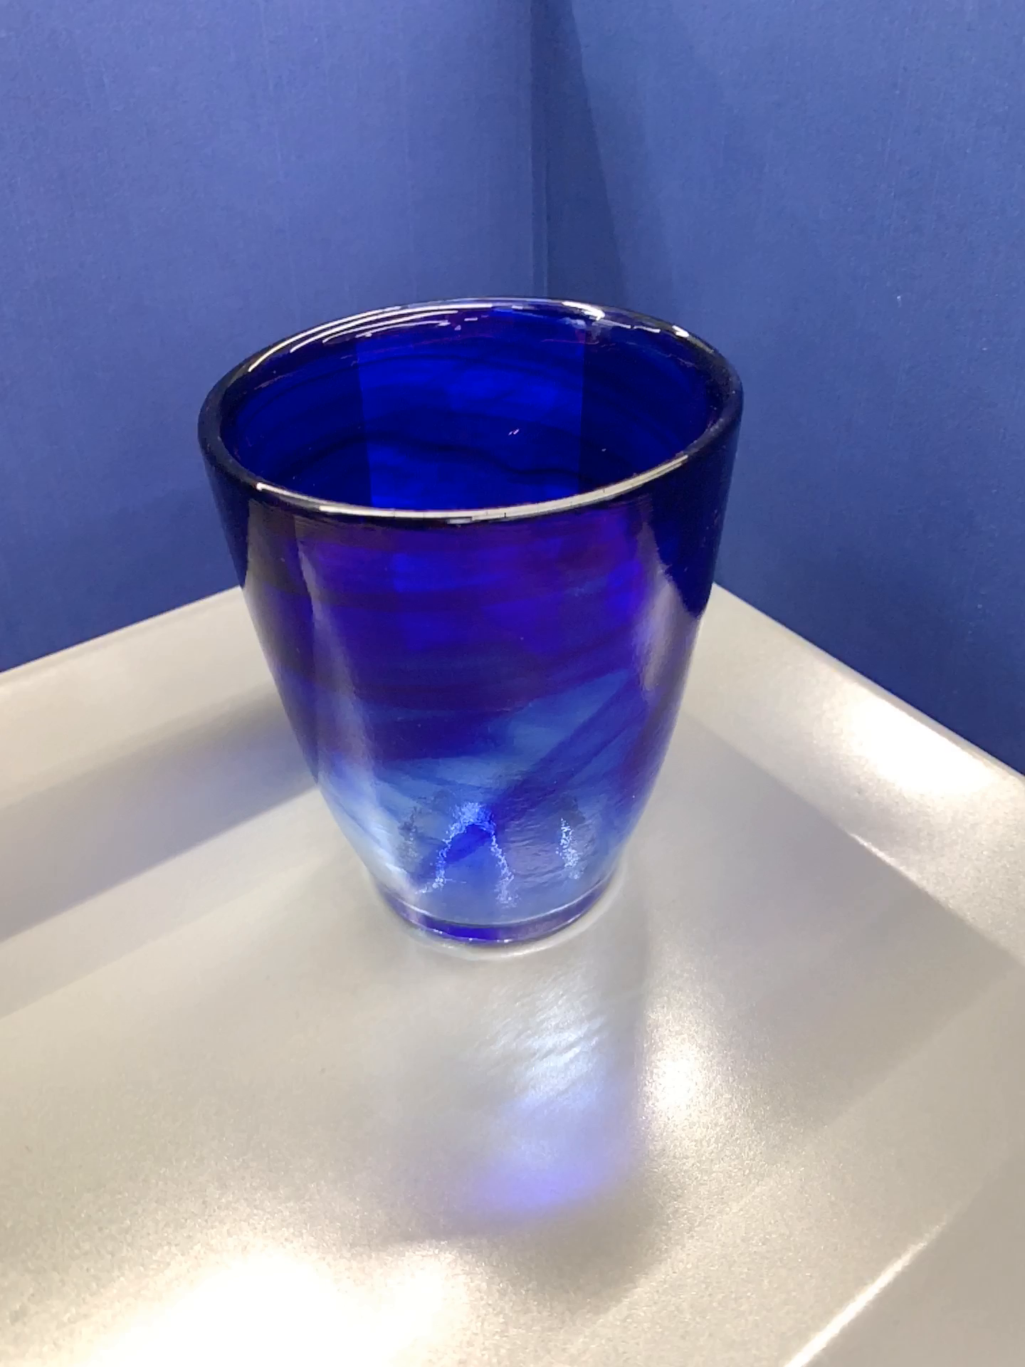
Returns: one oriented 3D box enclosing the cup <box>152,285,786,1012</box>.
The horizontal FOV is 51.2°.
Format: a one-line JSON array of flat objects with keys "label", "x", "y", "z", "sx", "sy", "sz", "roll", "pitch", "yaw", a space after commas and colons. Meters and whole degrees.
[{"label": "cup", "x": -0.002, "y": -0.009, "z": 0.211, "sx": 0.087, "sy": 0.111, "sz": 0.082, "roll": 0, "pitch": 36, "yaw": 0}]
